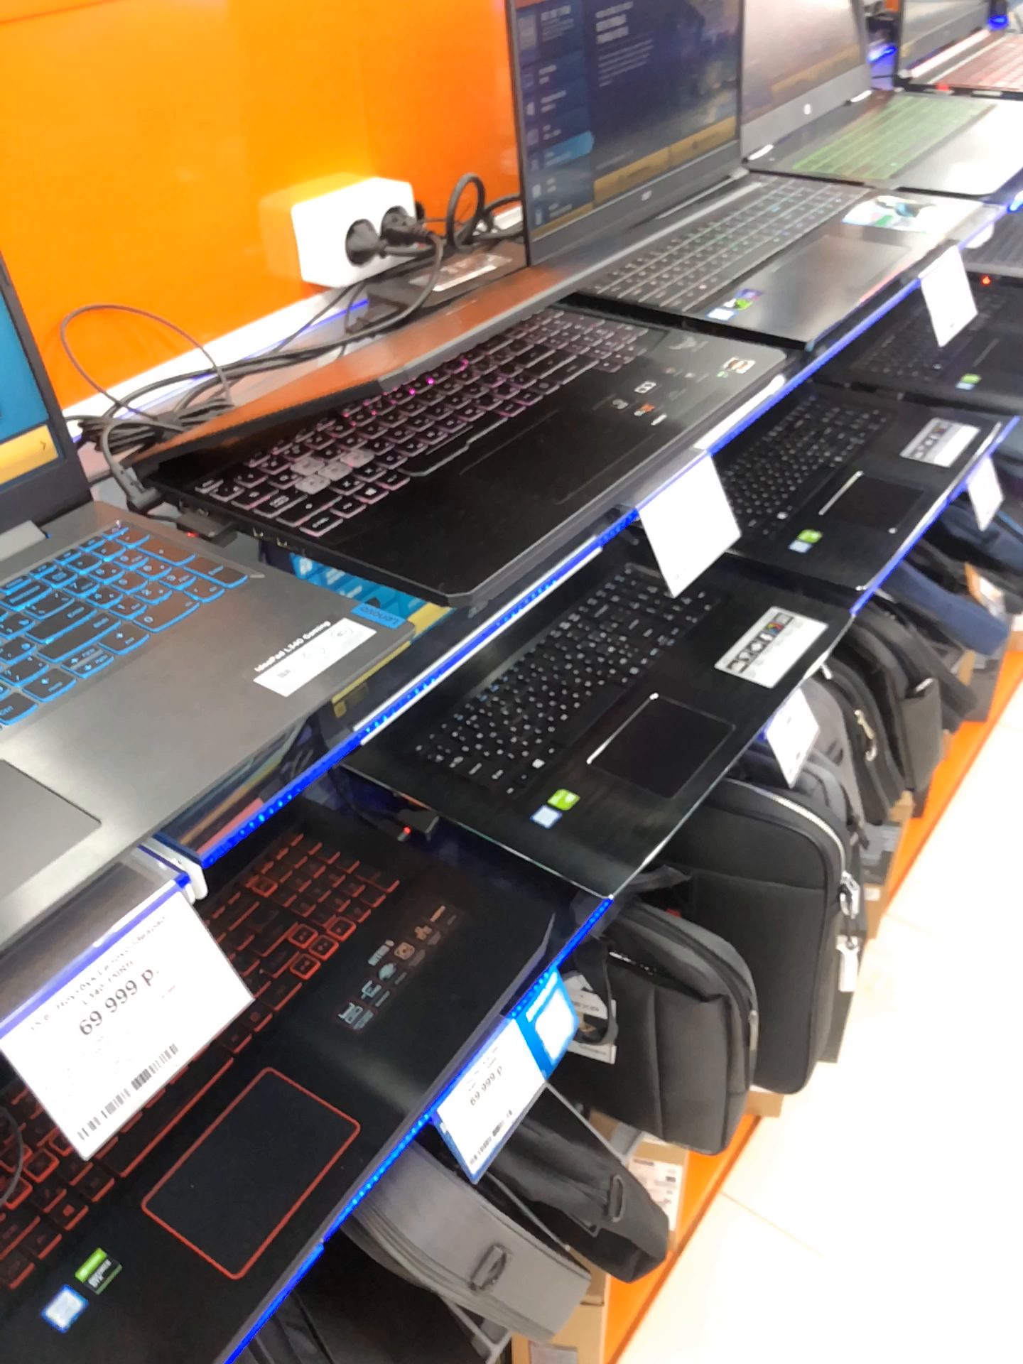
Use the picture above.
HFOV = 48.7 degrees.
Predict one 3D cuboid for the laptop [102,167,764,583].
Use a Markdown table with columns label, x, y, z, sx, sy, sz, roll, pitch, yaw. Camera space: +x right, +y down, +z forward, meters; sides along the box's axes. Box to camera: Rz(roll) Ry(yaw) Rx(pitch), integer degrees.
| label | x | y | z | sx | sy | sz | roll | pitch | yaw |
| --- | --- | --- | --- | --- | --- | --- | --- | --- | --- |
| laptop | -0.029 | -0.219 | 0.713 | 0.240 | 0.106 | 0.348 | 21 | 43 | 30 |

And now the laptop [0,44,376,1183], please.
| label | x | y | z | sx | sy | sz | roll | pitch | yaw |
| --- | --- | --- | --- | --- | --- | --- | --- | --- | --- |
| laptop | -0.296 | -0.082 | 0.435 | 0.283 | 0.235 | 0.358 | 21 | 43 | 30 |
